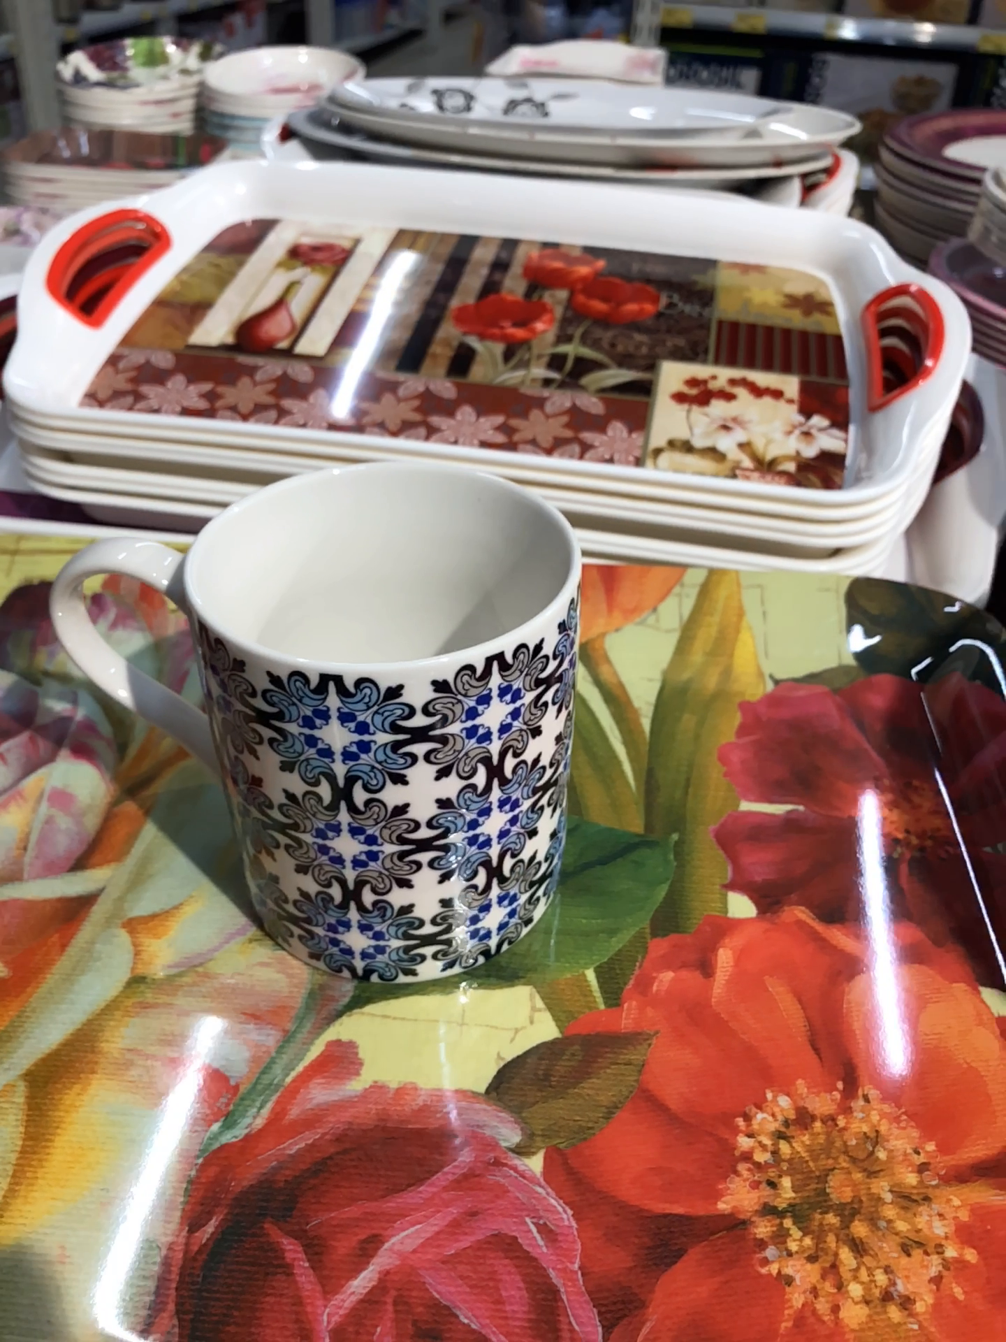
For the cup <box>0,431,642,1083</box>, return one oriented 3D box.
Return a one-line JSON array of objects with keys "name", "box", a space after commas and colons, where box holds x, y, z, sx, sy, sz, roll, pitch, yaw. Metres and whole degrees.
[{"name": "cup", "box": [-0.040, 0.016, 0.256, 0.130, 0.099, 0.091, 6, 35, 4]}]
